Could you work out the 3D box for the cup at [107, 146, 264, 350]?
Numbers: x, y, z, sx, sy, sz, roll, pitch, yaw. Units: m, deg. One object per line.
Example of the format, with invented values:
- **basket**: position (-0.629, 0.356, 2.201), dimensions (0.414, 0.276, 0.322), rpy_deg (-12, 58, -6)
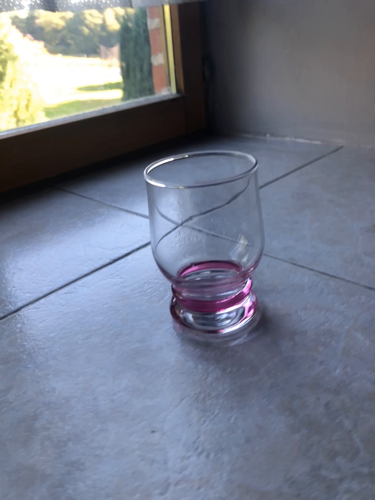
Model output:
- **cup**: position (0.006, -0.004, 0.264), dimensions (0.079, 0.102, 0.079), rpy_deg (-4, 27, 2)
